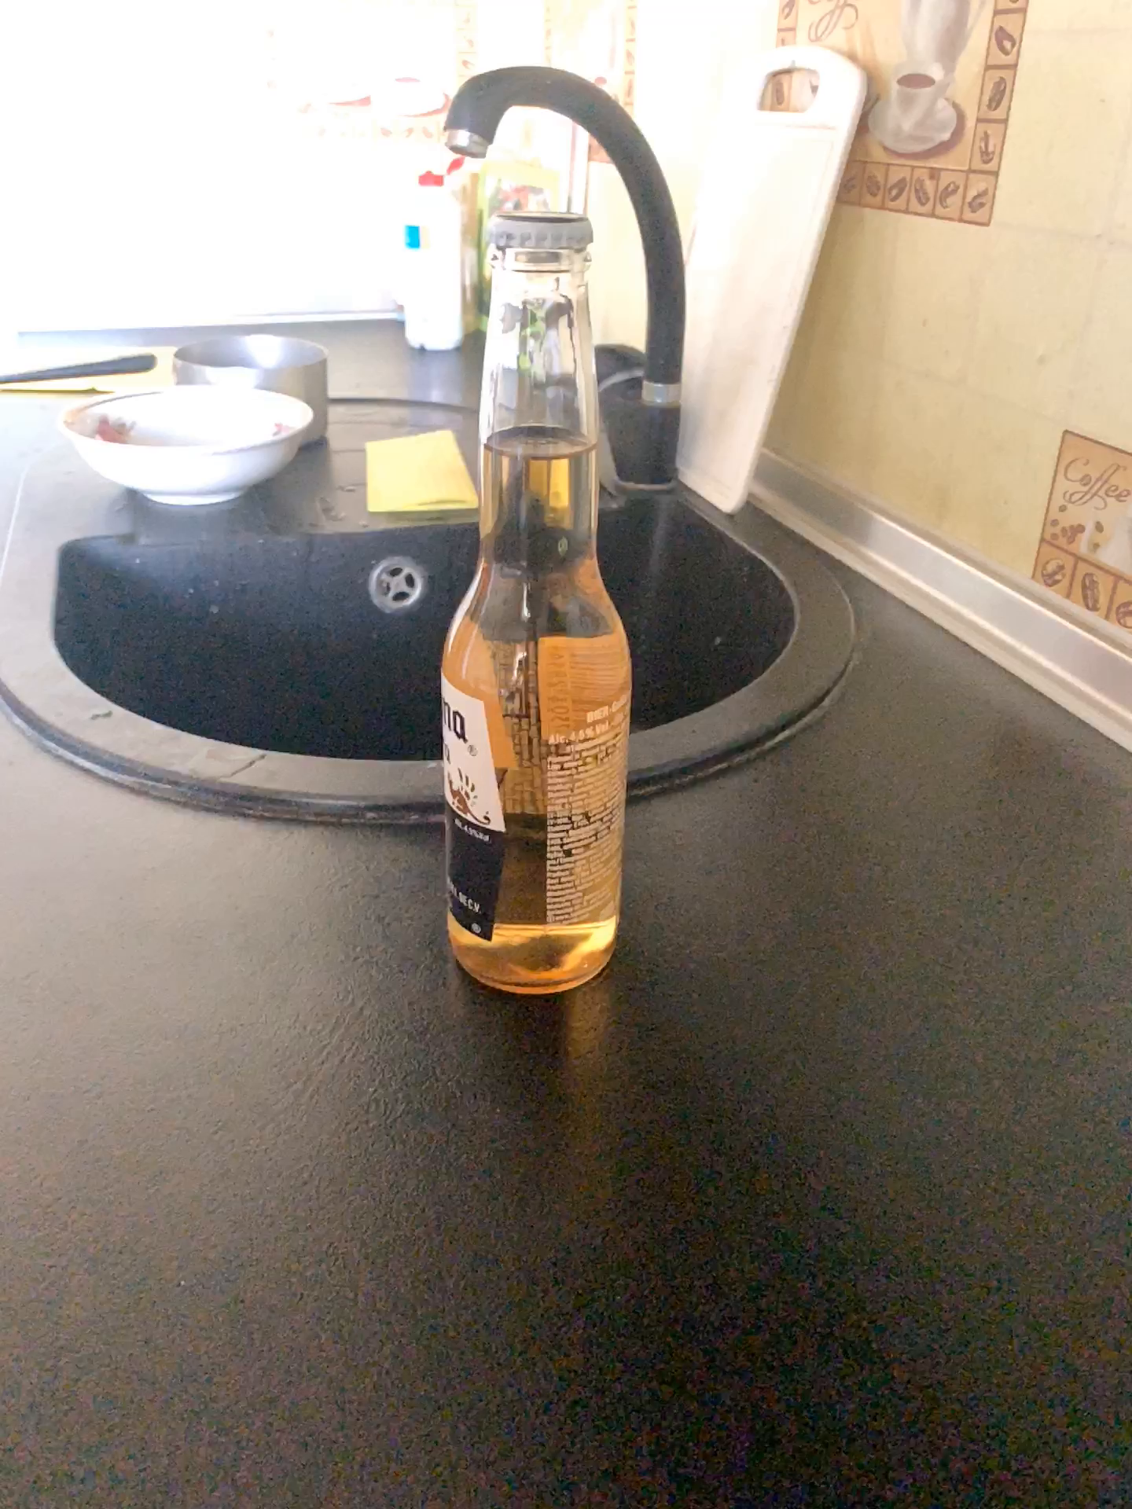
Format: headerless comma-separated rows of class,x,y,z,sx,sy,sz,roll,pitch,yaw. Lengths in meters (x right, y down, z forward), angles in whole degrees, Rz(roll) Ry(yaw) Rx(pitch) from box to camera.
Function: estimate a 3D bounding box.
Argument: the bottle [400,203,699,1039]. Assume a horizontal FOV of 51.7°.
bottle,-0.005,-0.031,0.363,0.070,0.249,0.070,1,29,0
